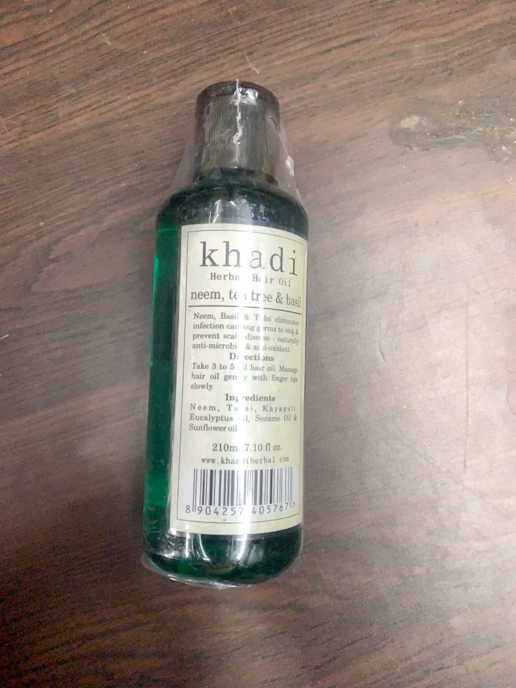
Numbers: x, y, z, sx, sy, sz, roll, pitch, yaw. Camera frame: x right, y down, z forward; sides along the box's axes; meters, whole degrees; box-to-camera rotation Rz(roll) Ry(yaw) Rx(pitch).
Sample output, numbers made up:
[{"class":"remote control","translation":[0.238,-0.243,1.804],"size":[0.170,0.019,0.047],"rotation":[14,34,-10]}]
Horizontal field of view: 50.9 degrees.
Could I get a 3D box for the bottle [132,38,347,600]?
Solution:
[{"class":"bottle","translation":[-0.007,-0.007,0.177],"size":[0.050,0.050,0.150],"rotation":[4,84,-26]}]
